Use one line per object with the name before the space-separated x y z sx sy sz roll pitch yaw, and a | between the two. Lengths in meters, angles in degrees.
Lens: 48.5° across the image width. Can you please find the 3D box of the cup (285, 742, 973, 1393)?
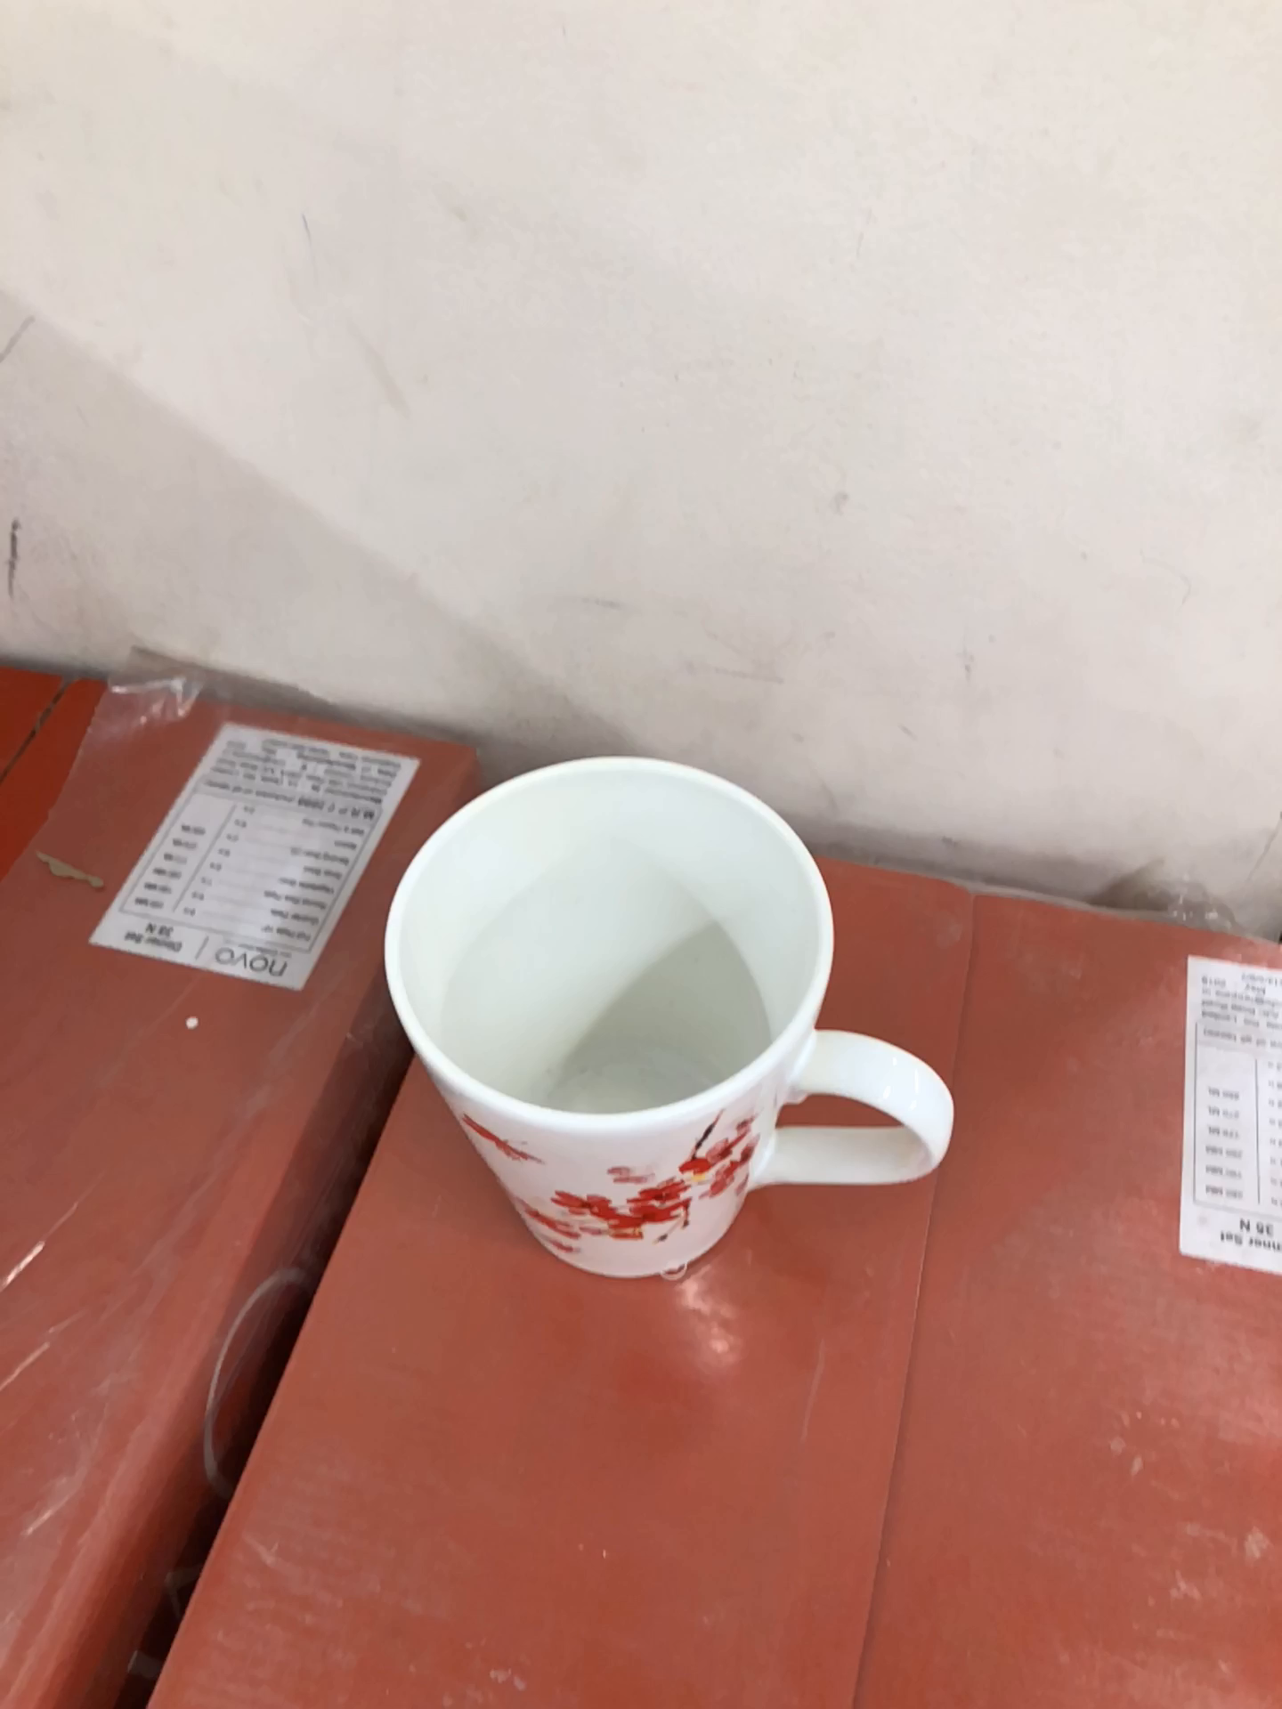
cup | 0.004 0.046 0.294 0.110 0.100 0.080 7 53 8
